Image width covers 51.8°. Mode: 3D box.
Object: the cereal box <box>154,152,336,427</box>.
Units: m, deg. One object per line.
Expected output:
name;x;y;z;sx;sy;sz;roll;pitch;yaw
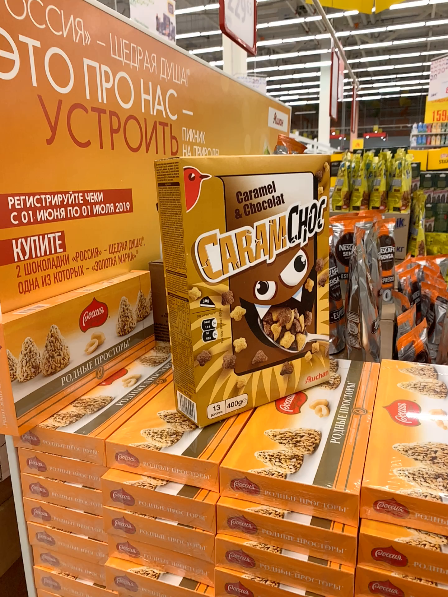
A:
cereal box;0.034;-0.022;0.534;0.200;0.279;0.060;-11;16;-31
